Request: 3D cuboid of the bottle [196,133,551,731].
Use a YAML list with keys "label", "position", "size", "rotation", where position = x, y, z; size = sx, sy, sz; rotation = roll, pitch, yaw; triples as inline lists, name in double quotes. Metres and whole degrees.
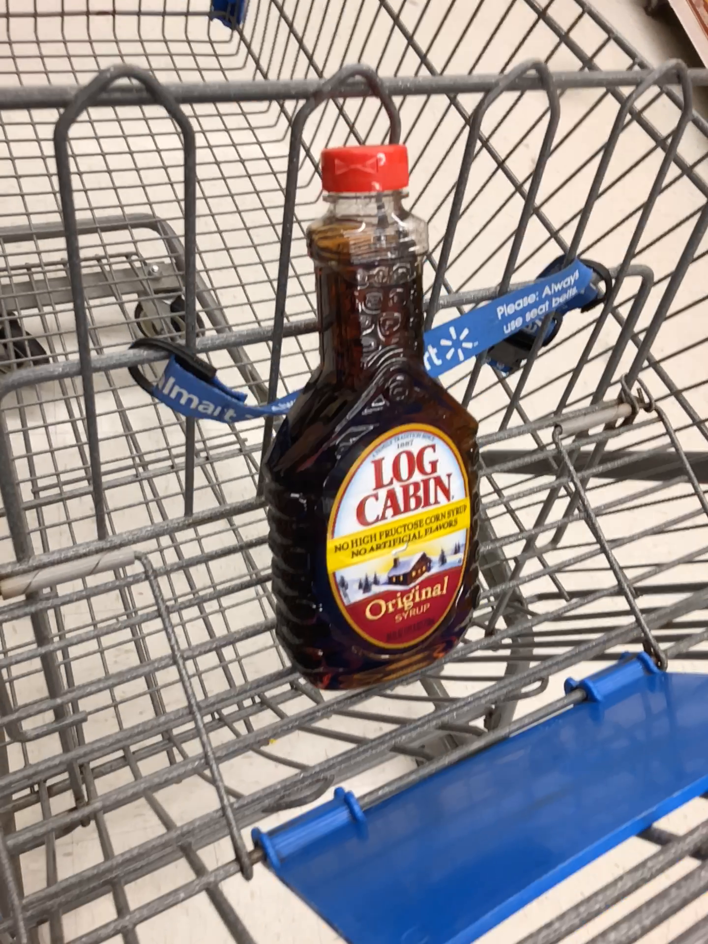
- label: "bottle"
  position: [0.012, -0.015, 0.350]
  size: [0.120, 0.240, 0.060]
  rotation: [-17, 31, -26]
